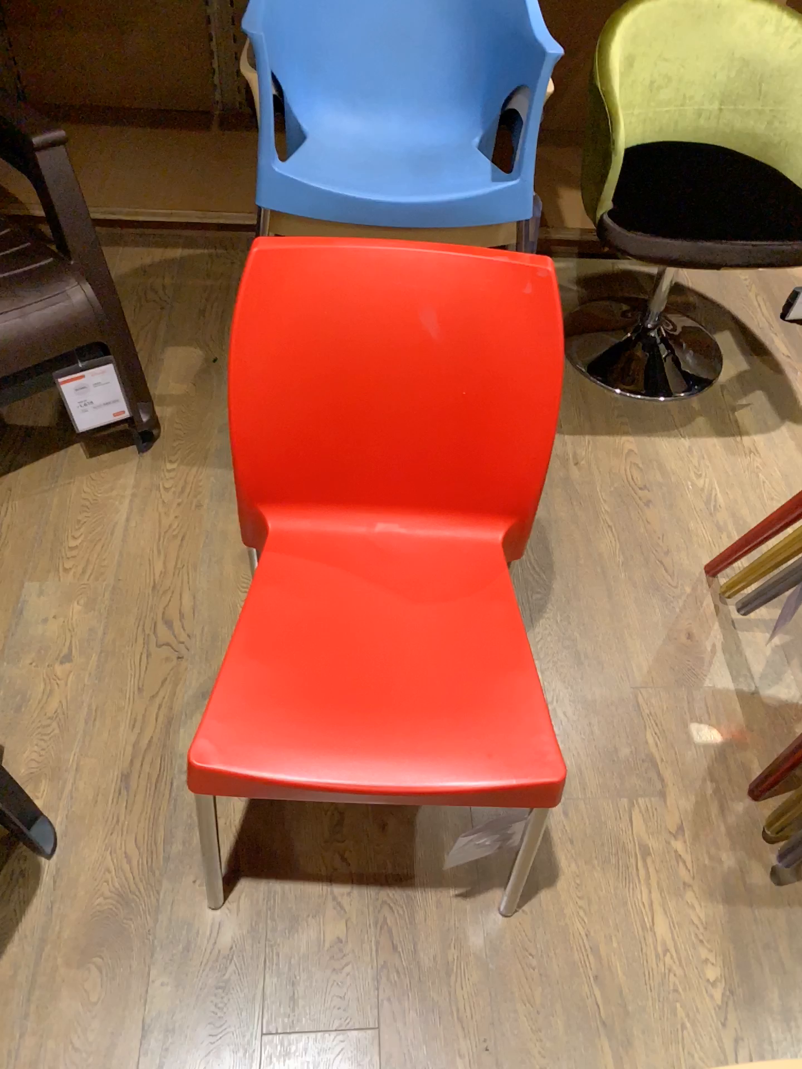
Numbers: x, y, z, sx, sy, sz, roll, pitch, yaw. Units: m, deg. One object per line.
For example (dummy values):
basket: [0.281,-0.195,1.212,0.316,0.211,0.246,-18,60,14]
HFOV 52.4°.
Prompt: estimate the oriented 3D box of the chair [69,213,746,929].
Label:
chair: [-0.009,0.100,1.134,0.530,0.778,0.622,4,51,-2]
